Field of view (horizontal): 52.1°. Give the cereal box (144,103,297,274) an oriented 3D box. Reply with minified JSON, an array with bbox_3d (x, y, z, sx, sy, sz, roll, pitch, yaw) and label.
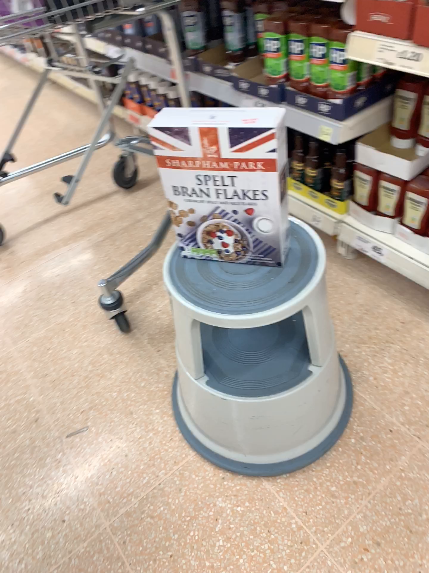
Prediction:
[{"bbox_3d":[0.023,-0.149,0.701,0.200,0.257,0.071,8,47,19],"label":"cereal box"}]
